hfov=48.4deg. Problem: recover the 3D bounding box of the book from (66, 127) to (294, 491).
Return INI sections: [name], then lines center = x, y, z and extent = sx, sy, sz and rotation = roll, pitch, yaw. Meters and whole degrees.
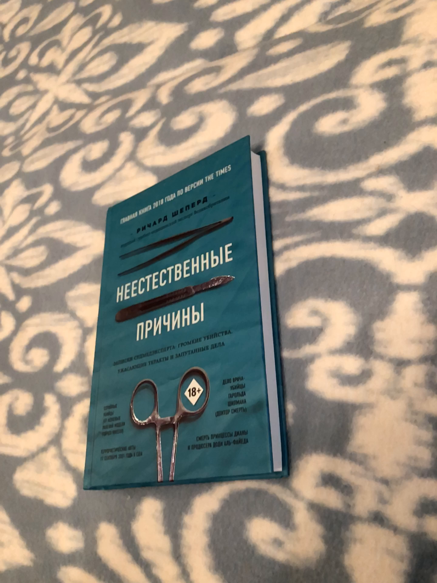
[book]
center = -0.032, 0.012, 0.326
extent = 0.149, 0.025, 0.218
rotation = -18, 60, 31
